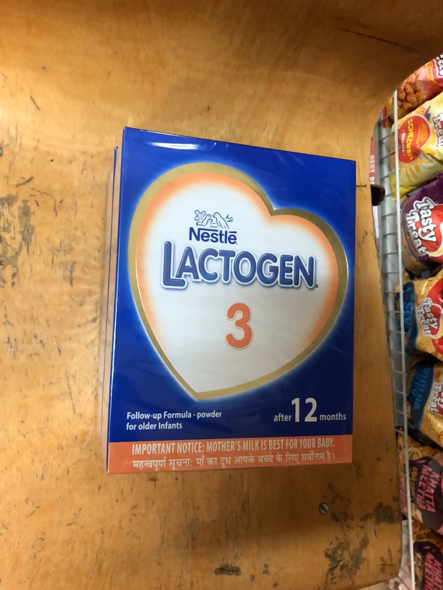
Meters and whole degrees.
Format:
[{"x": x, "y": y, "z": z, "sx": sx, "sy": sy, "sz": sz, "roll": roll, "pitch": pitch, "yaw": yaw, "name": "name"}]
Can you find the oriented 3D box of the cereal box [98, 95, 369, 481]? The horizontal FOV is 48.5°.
[{"x": 0.007, "y": -0.001, "z": 0.304, "sx": 0.150, "sy": 0.060, "sz": 0.200, "roll": 3, "pitch": 86, "yaw": -17, "name": "cereal box"}]
